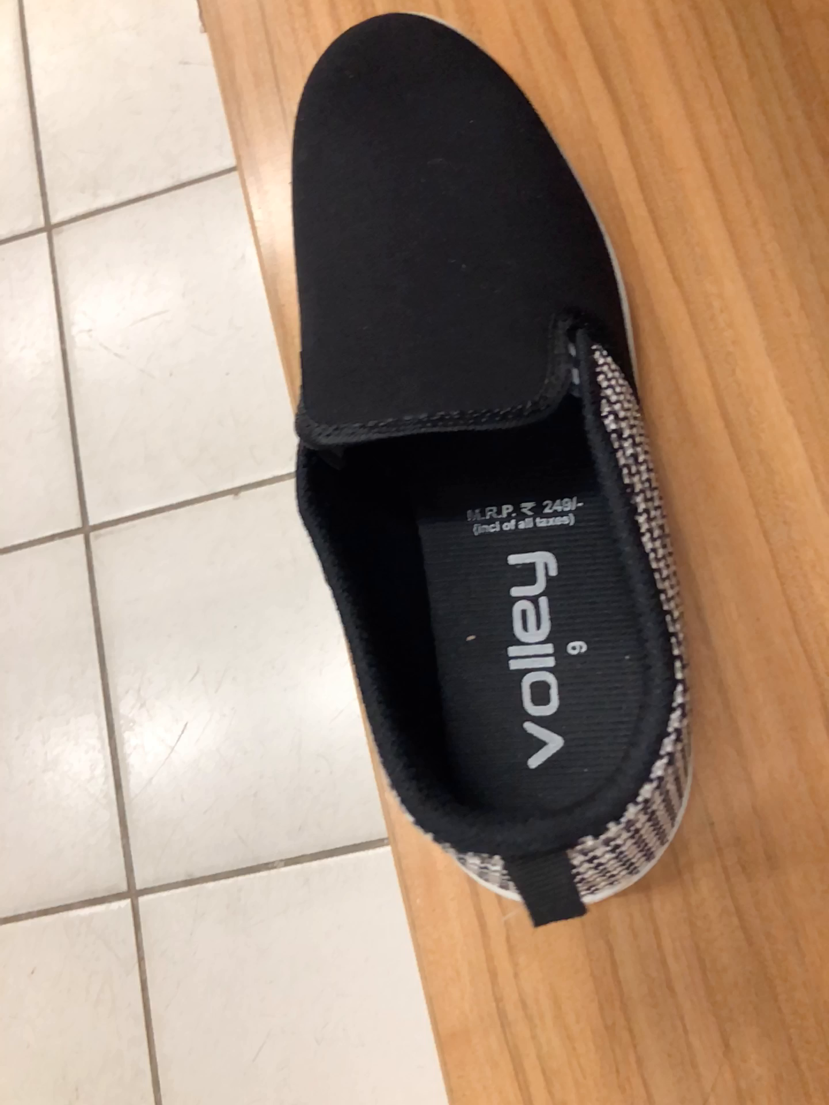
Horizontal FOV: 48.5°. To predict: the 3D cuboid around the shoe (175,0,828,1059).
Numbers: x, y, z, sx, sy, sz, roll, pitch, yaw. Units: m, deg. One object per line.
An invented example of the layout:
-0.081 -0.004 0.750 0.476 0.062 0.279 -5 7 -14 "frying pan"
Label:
0.019 -0.042 0.250 0.100 0.090 0.290 -13 76 8 "shoe"
